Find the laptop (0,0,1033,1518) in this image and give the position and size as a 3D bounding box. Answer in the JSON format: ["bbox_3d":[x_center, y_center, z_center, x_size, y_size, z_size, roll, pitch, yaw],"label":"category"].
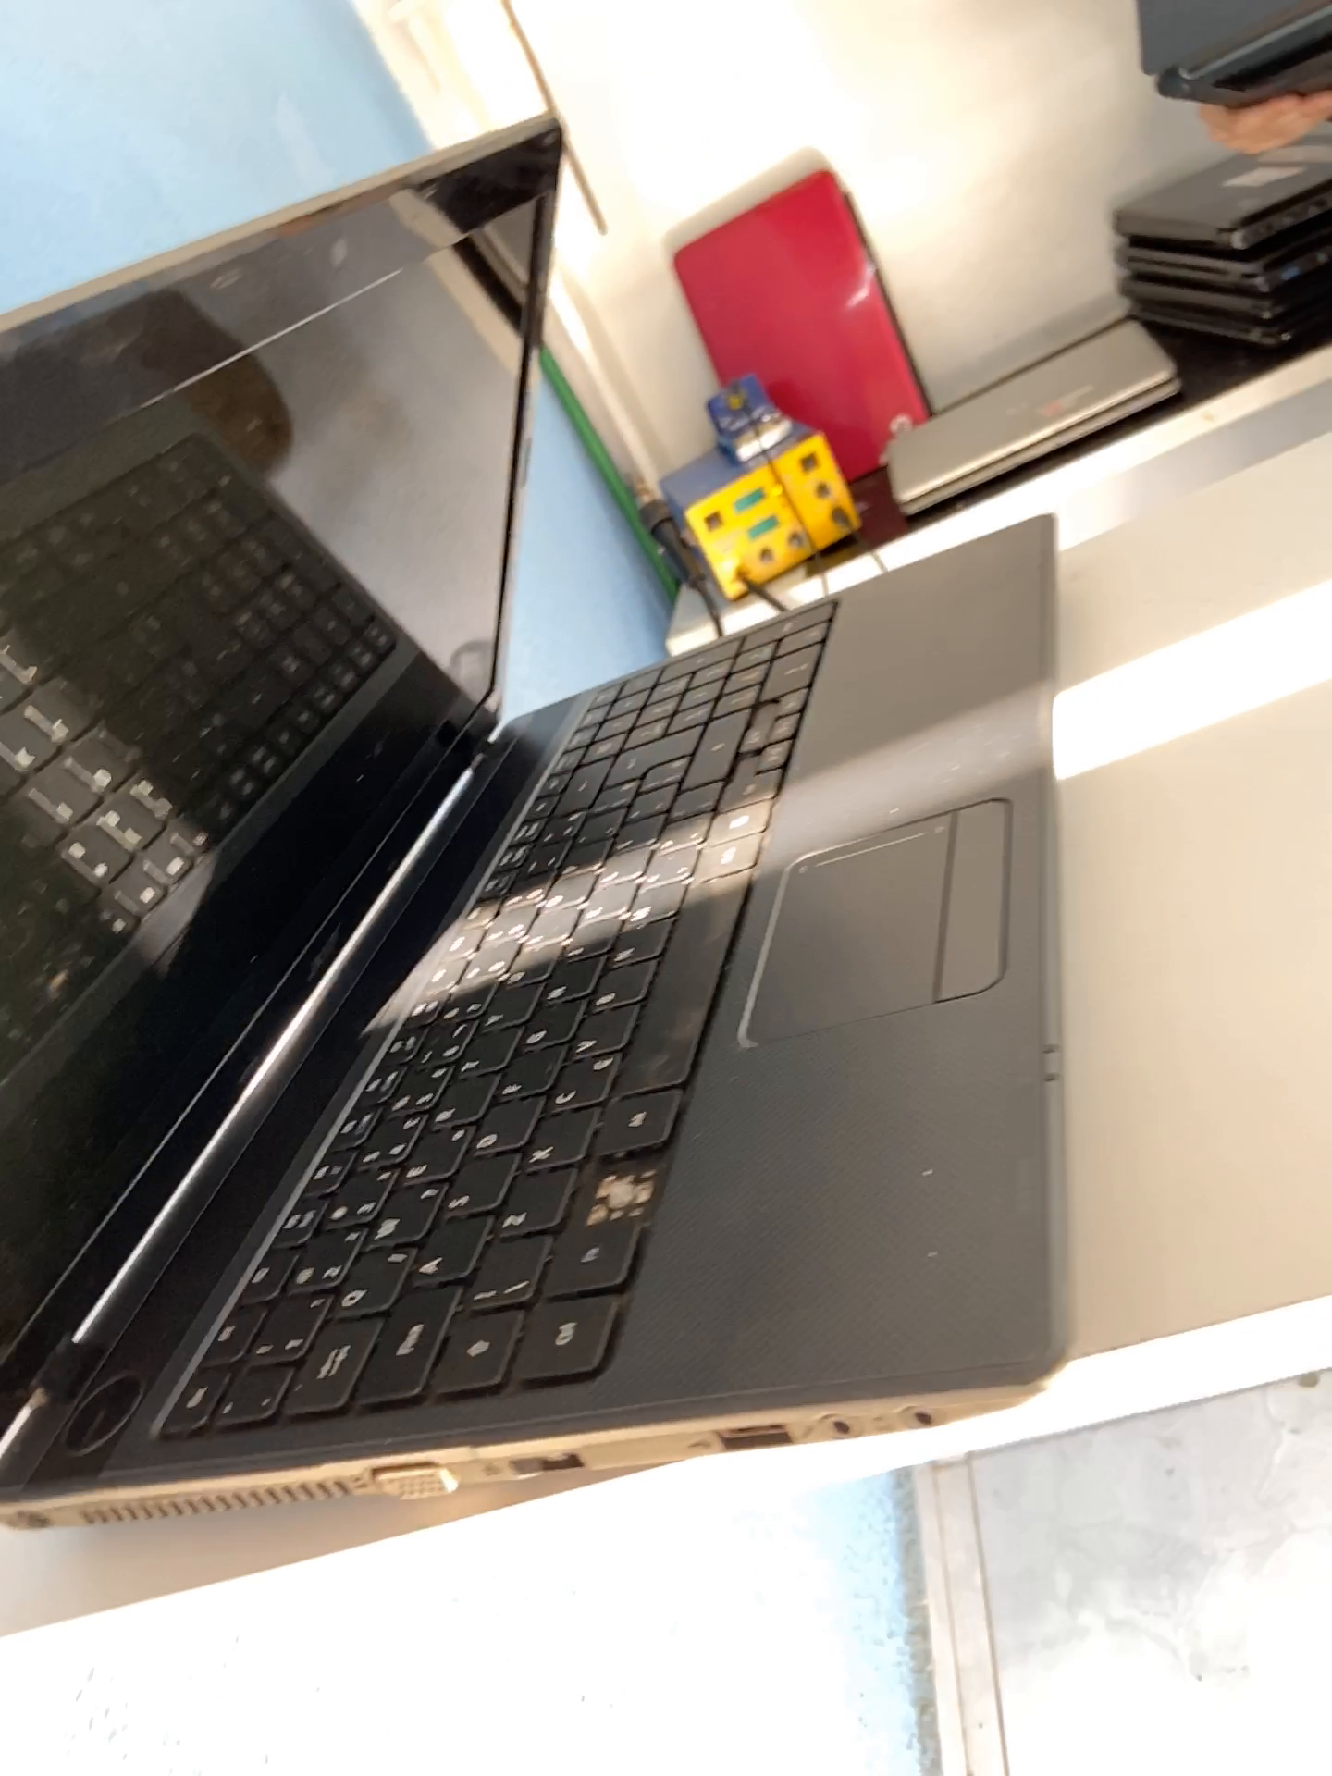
[{"bbox_3d":[-0.058,-0.070,0.374,0.247,0.191,0.378,-18,27,25],"label":"laptop"}]
